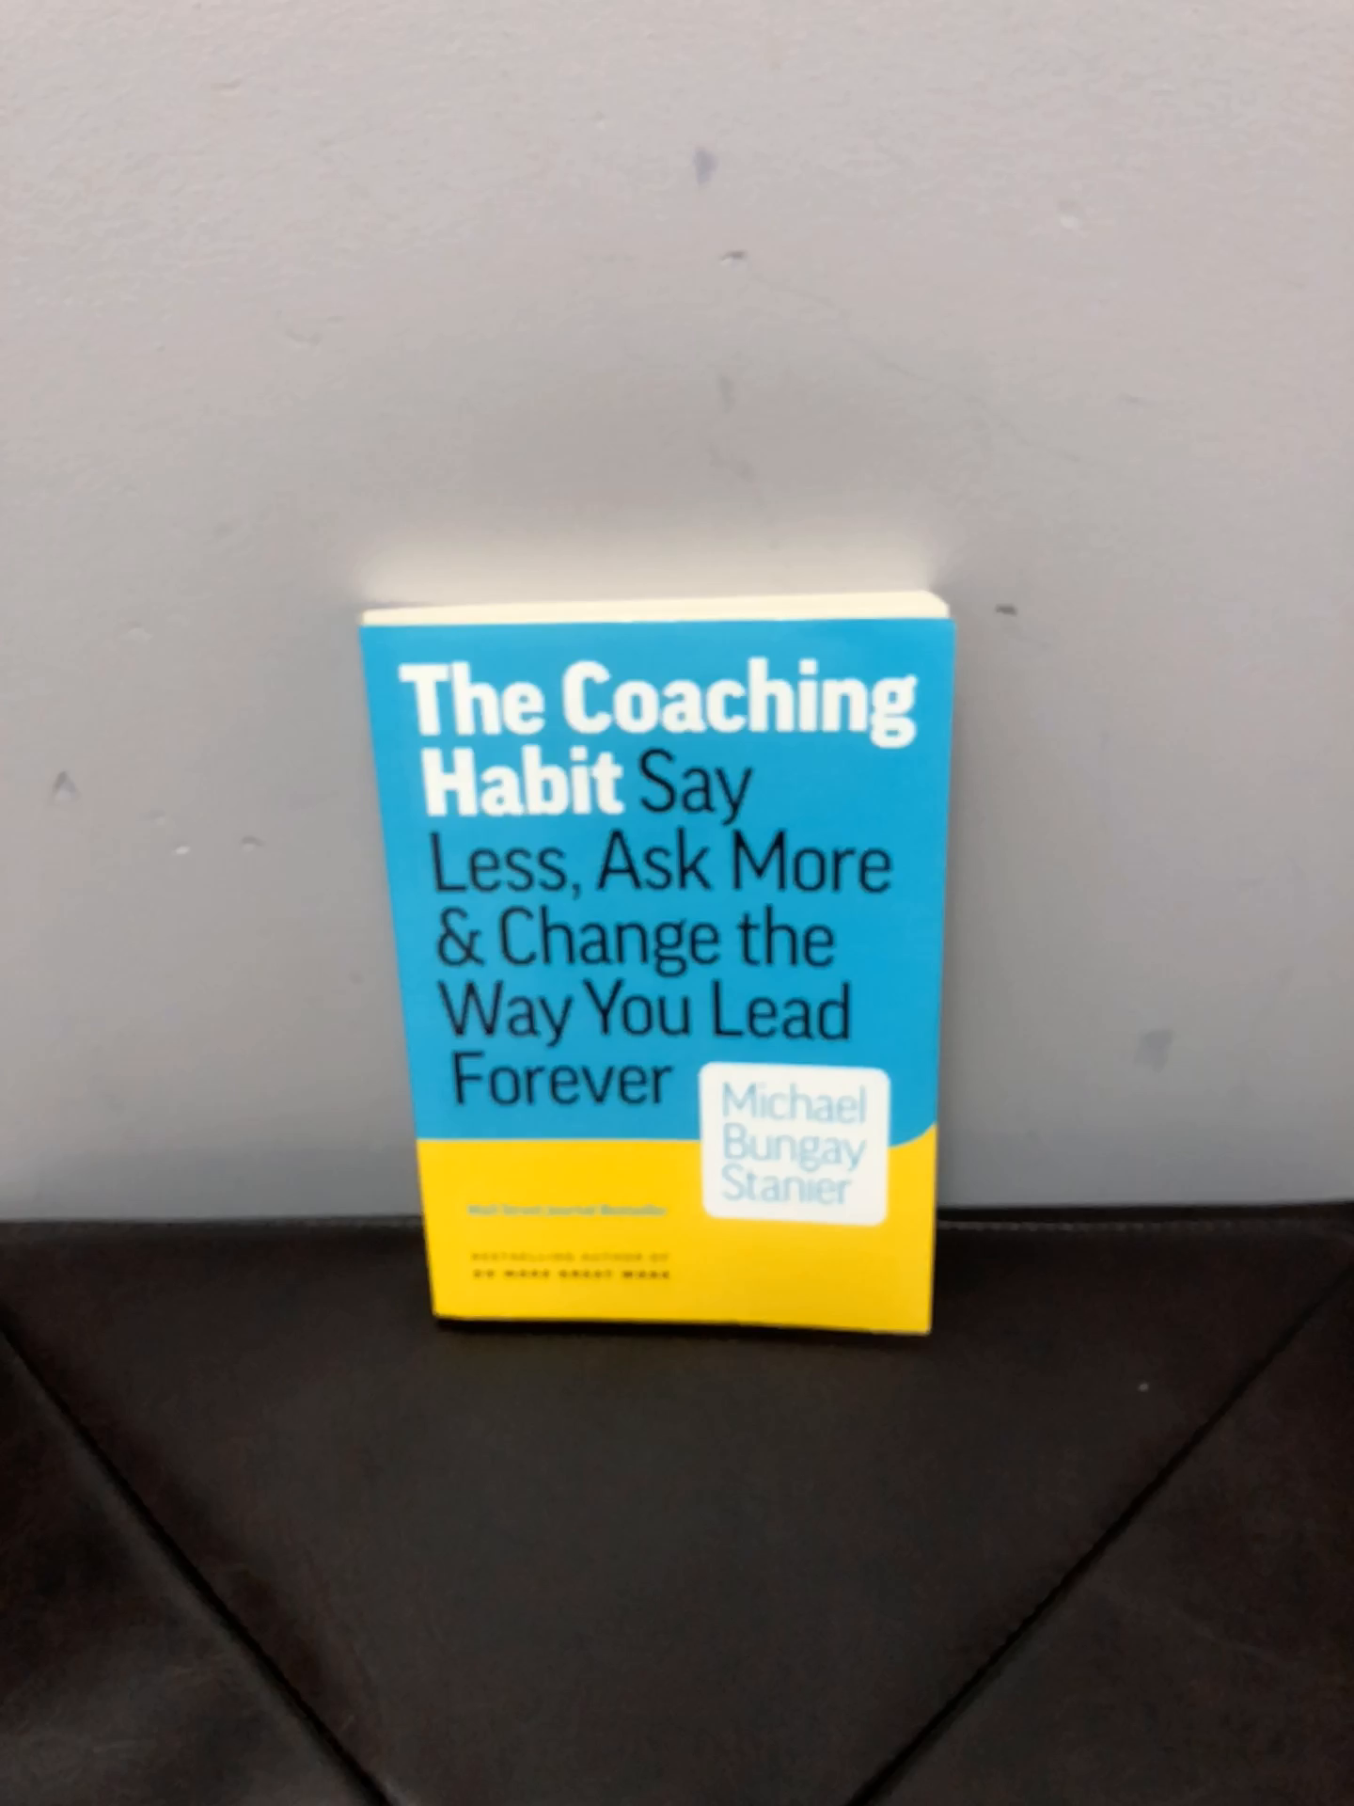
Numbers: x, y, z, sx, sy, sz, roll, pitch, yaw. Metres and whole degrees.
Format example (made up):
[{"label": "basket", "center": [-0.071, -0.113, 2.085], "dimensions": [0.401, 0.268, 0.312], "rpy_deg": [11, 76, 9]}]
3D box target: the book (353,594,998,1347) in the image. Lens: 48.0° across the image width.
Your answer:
[{"label": "book", "center": [0.000, 0.022, 0.391], "dimensions": [0.145, 0.195, 0.030], "rpy_deg": [1, 21, 3]}]
